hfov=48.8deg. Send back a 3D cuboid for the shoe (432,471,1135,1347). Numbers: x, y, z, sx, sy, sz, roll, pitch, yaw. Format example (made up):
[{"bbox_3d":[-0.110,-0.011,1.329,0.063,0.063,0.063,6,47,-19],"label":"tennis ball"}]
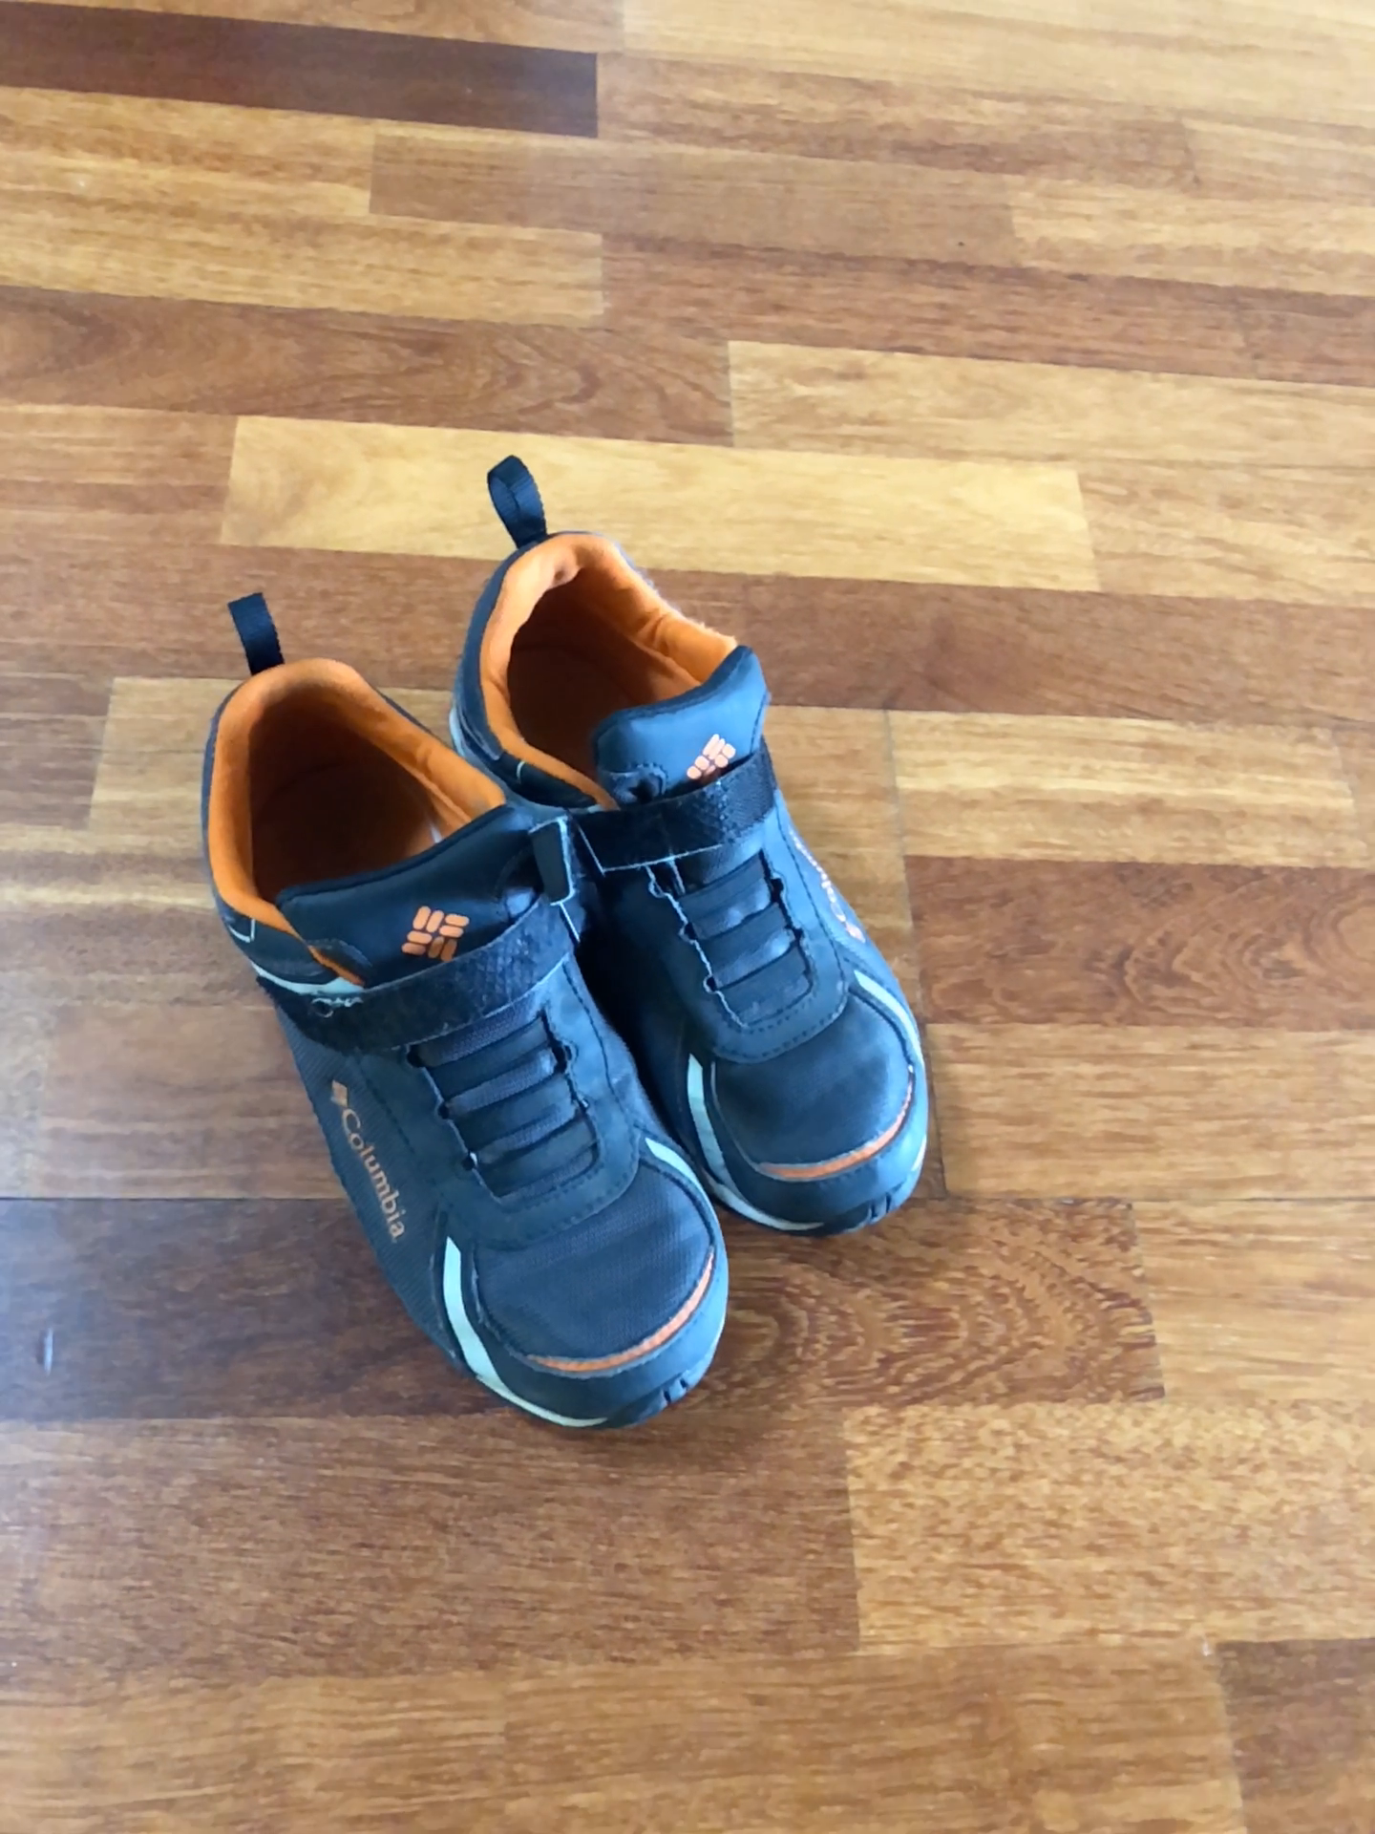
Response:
[{"bbox_3d":[0.015,-0.006,0.523,0.111,0.126,0.252,-22,67,-19],"label":"shoe"}]

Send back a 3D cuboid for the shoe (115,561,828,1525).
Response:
[{"bbox_3d":[-0.071,0.032,0.449,0.097,0.102,0.248,-22,67,-19],"label":"shoe"}]
